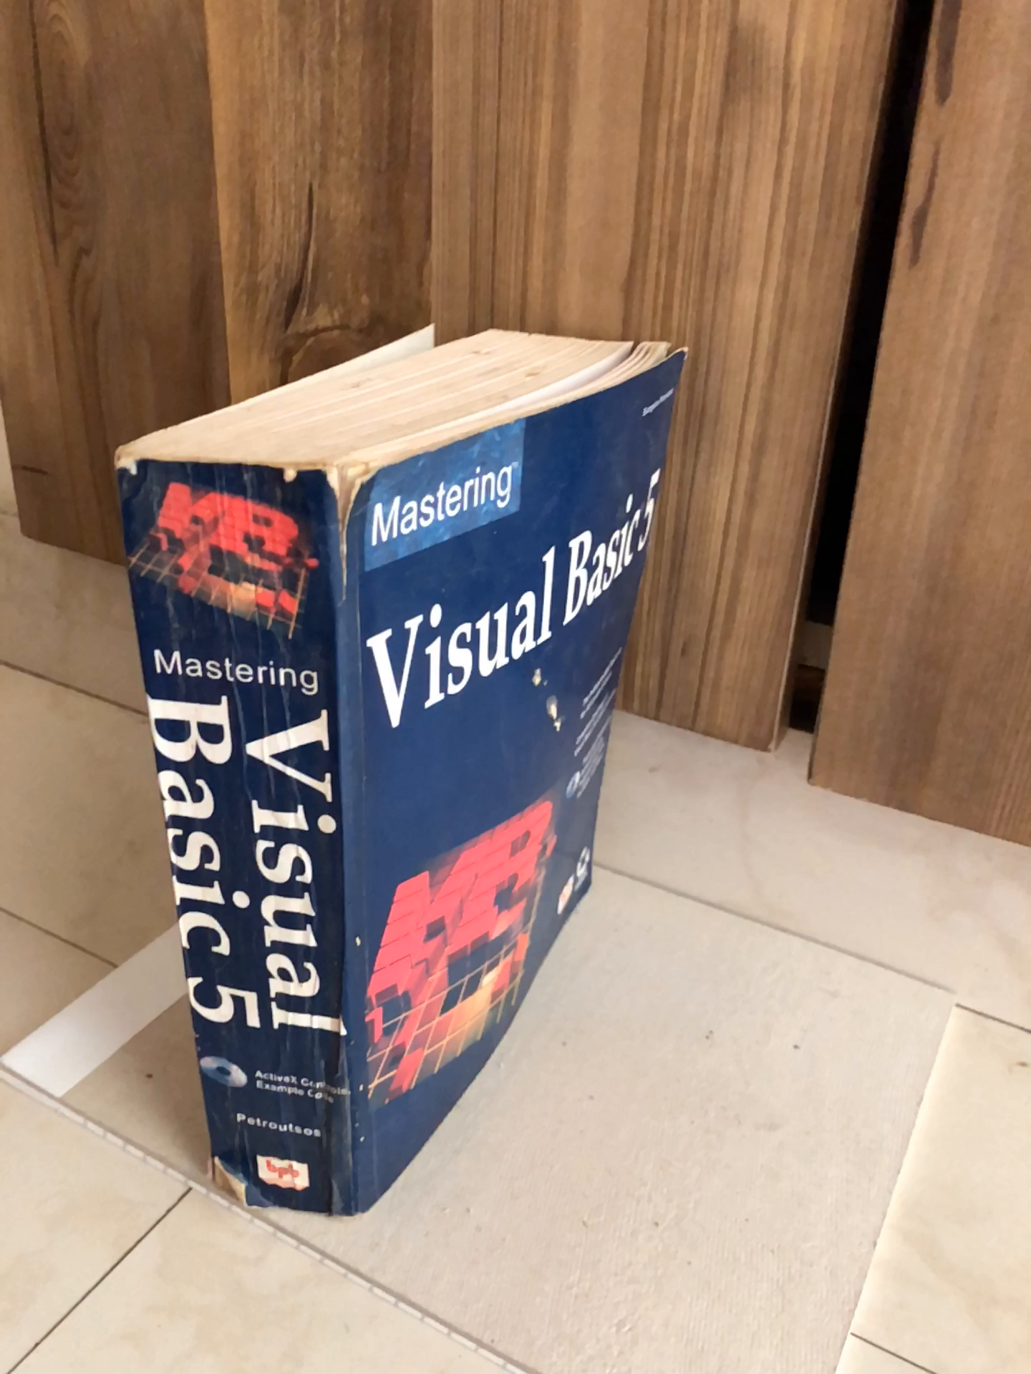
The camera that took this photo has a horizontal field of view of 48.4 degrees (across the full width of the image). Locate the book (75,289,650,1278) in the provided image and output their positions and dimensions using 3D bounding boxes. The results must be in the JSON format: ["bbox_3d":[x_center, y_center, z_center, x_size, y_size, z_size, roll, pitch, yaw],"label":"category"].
[{"bbox_3d":[-0.024,0.013,0.379,0.060,0.249,0.211,11,28,22],"label":"book"}]
